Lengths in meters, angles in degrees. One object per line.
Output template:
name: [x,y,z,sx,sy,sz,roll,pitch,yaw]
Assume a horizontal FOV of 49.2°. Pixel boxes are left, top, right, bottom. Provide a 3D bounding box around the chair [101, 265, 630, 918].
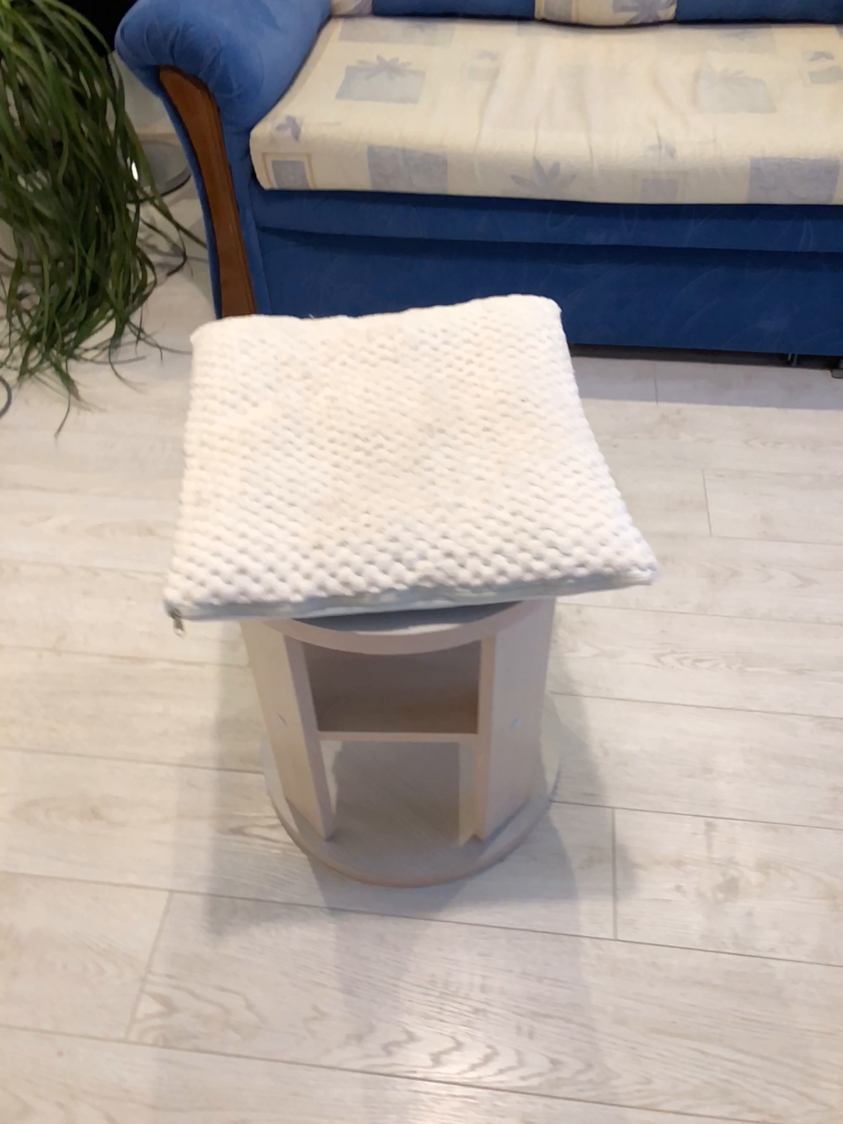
chair: [-0.009,0.046,0.986,0.380,0.546,0.403,6,47,7]
